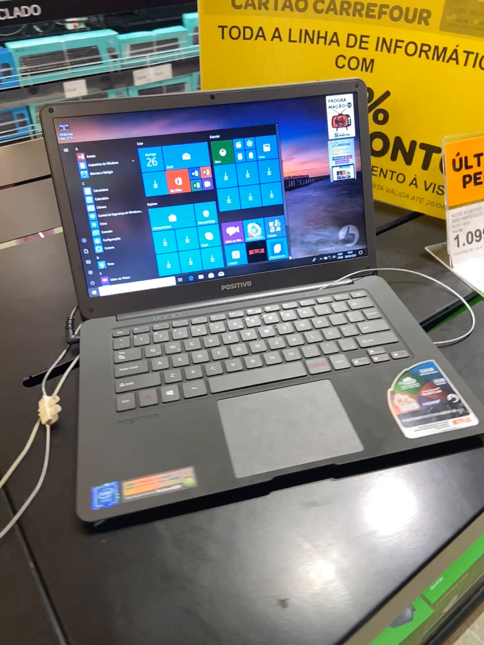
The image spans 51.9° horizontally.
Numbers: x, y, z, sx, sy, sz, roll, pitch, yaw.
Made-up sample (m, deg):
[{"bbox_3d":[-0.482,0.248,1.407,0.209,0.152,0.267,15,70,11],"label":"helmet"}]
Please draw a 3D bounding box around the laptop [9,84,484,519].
[{"bbox_3d":[0.009,-0.052,0.399,0.296,0.159,0.293,-9,42,-10],"label":"laptop"}]
